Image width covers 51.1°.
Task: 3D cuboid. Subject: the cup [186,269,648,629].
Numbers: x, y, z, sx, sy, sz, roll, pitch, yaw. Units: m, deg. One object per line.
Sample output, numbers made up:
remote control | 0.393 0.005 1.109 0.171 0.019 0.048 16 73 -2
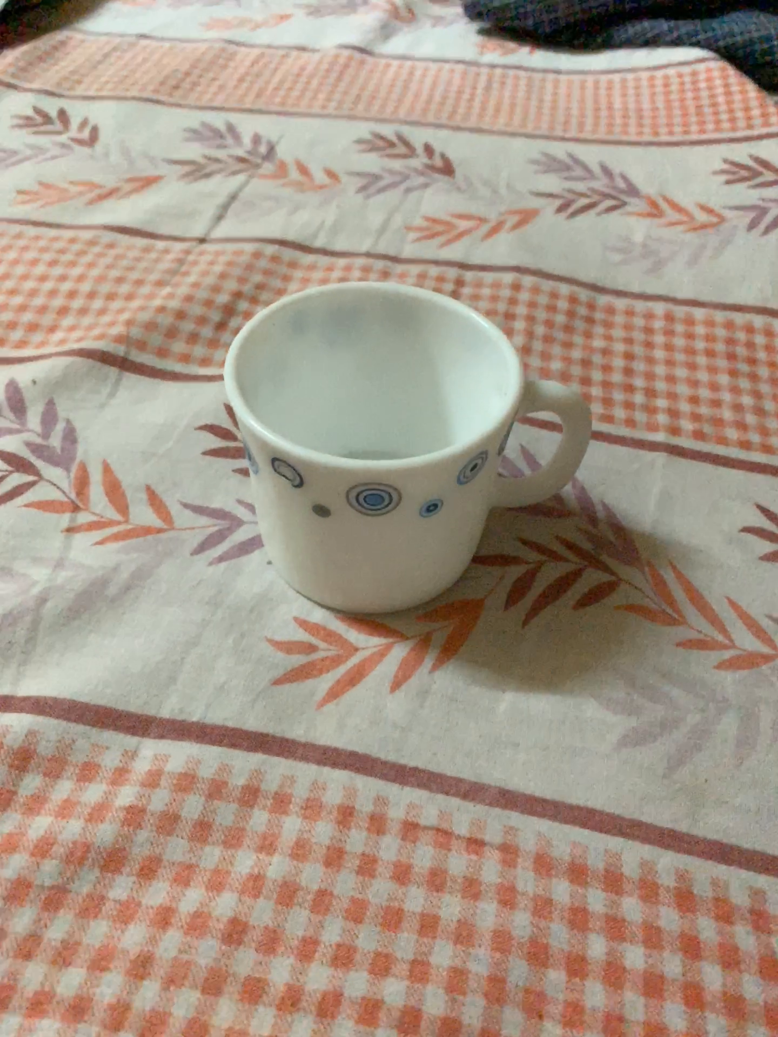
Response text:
cup | 0.005 -0.019 0.225 0.100 0.070 0.070 0 48 -2
